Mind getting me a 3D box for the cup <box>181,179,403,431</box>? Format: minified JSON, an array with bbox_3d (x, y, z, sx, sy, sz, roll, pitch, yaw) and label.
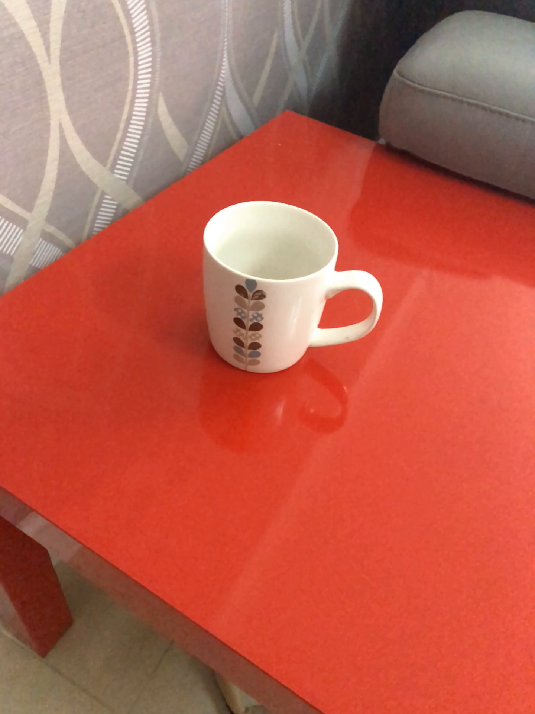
[{"bbox_3d":[0.015,-0.036,0.410,0.120,0.119,0.091,15,46,8],"label":"cup"}]
